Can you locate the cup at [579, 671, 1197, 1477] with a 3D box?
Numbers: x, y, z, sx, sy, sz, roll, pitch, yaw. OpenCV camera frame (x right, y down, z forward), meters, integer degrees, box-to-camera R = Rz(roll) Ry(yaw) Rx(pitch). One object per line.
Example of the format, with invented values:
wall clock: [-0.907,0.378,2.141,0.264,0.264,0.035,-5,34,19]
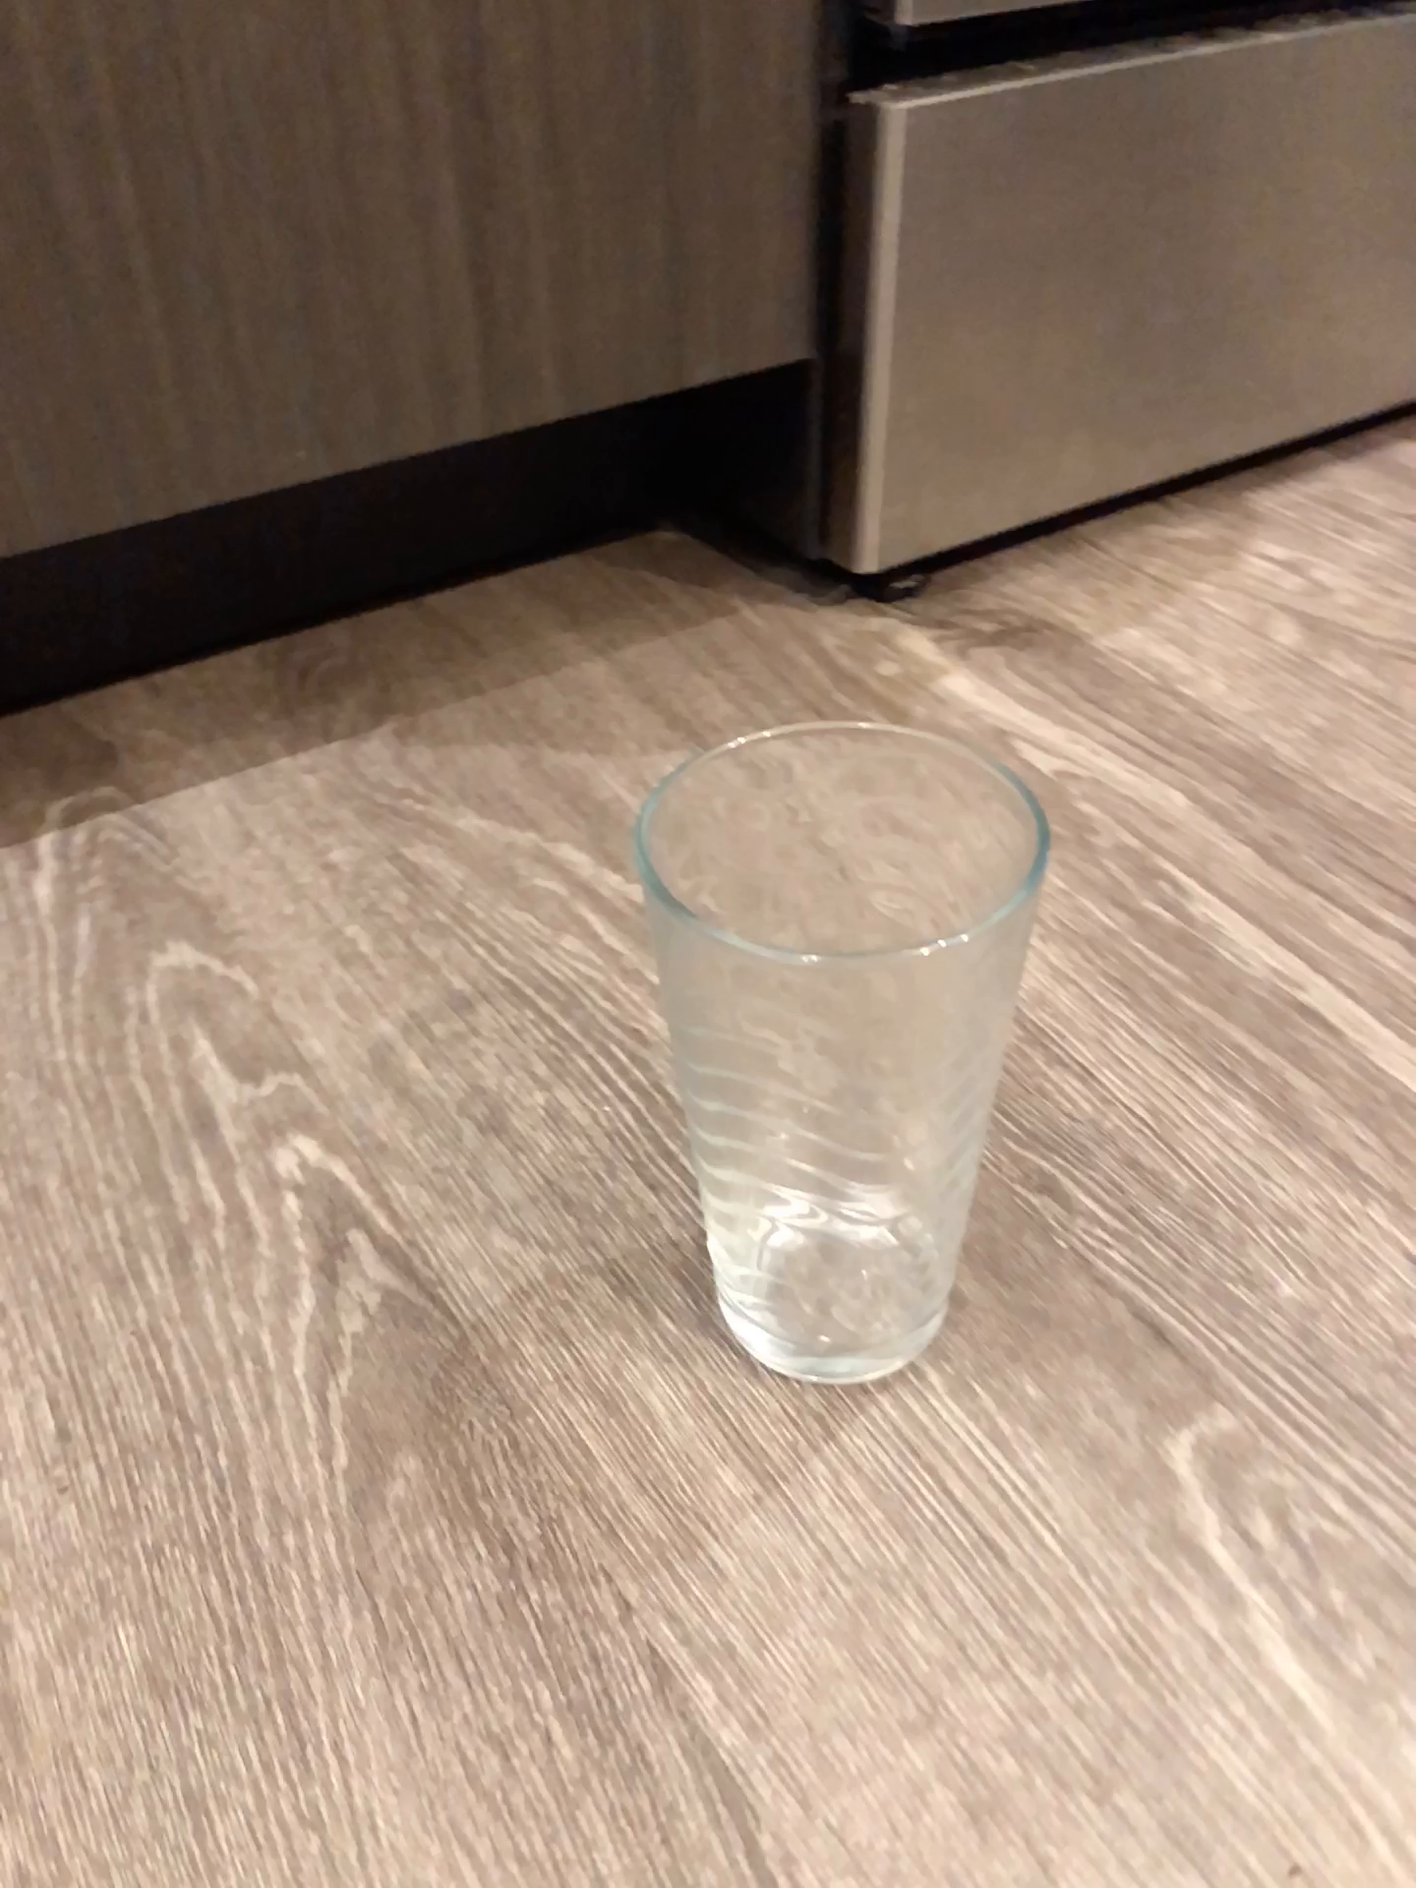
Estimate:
cup: [0.036,0.029,0.368,0.090,0.139,0.090,-1,39,1]
